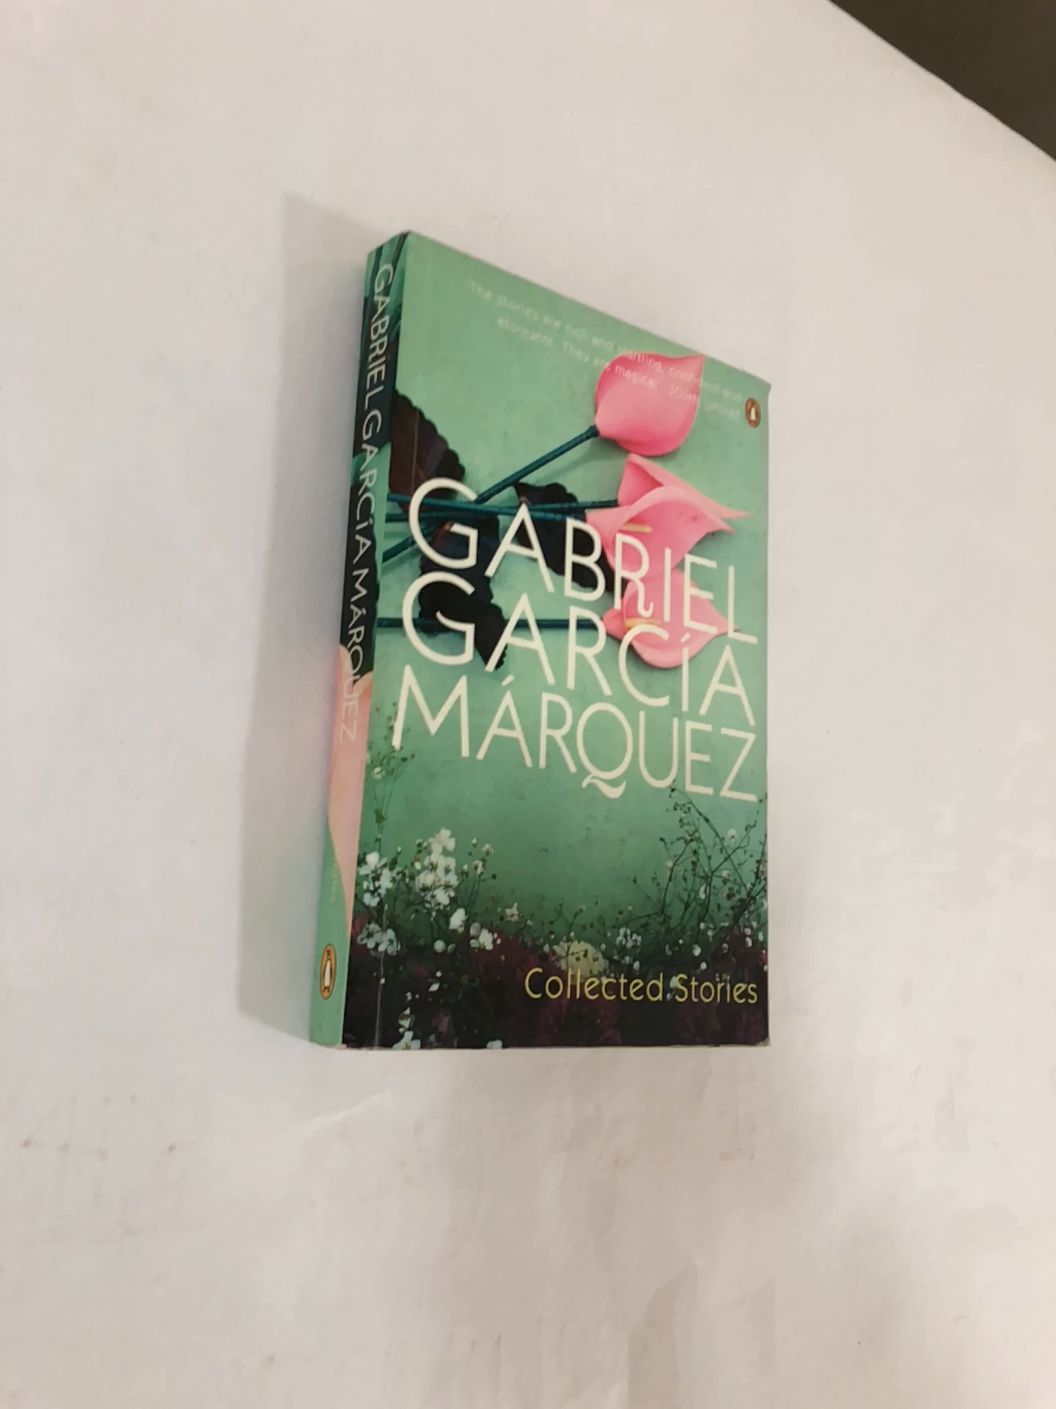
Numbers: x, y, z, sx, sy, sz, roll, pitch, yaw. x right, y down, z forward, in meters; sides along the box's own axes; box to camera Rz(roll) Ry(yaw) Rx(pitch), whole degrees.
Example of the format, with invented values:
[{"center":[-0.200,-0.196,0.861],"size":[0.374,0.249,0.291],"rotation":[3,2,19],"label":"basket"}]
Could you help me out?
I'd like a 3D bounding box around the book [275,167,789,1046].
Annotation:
[{"center":[0.009,-0.017,0.305],"size":[0.130,0.030,0.200],"rotation":[10,75,-33],"label":"book"}]
